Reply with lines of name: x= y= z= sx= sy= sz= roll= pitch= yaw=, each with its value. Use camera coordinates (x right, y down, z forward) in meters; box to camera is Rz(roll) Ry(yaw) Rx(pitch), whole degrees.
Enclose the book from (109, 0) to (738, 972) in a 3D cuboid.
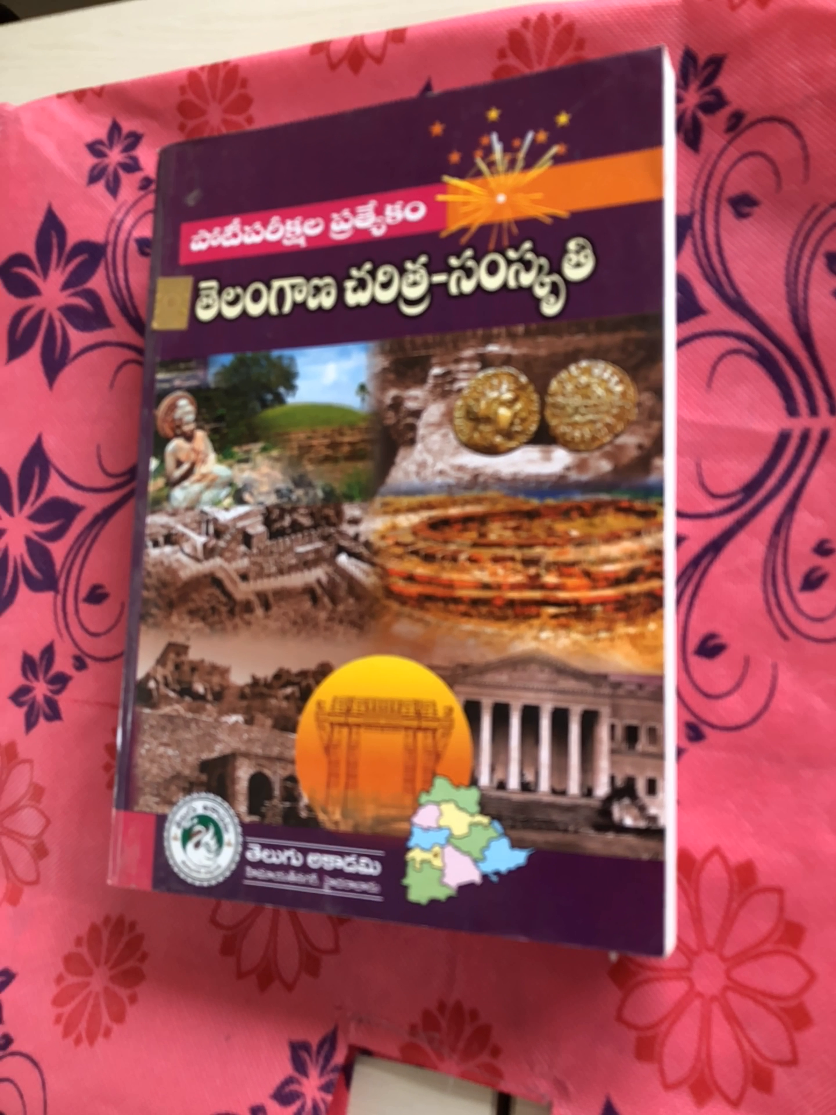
book: x=0.003 y=-0.026 z=0.315 sx=0.200 sy=0.050 sz=0.280 roll=-1 pitch=82 yaw=20
